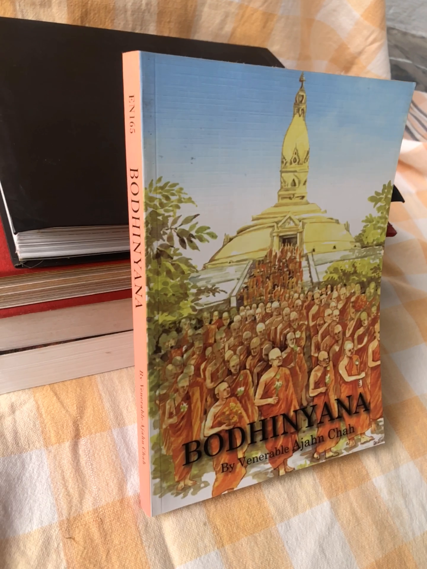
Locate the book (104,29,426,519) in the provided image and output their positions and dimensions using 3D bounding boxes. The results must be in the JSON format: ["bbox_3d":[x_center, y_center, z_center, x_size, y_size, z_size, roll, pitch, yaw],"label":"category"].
[{"bbox_3d":[0.028,-0.003,0.236,0.151,0.200,0.030,-6,14,-26],"label":"book"}]
